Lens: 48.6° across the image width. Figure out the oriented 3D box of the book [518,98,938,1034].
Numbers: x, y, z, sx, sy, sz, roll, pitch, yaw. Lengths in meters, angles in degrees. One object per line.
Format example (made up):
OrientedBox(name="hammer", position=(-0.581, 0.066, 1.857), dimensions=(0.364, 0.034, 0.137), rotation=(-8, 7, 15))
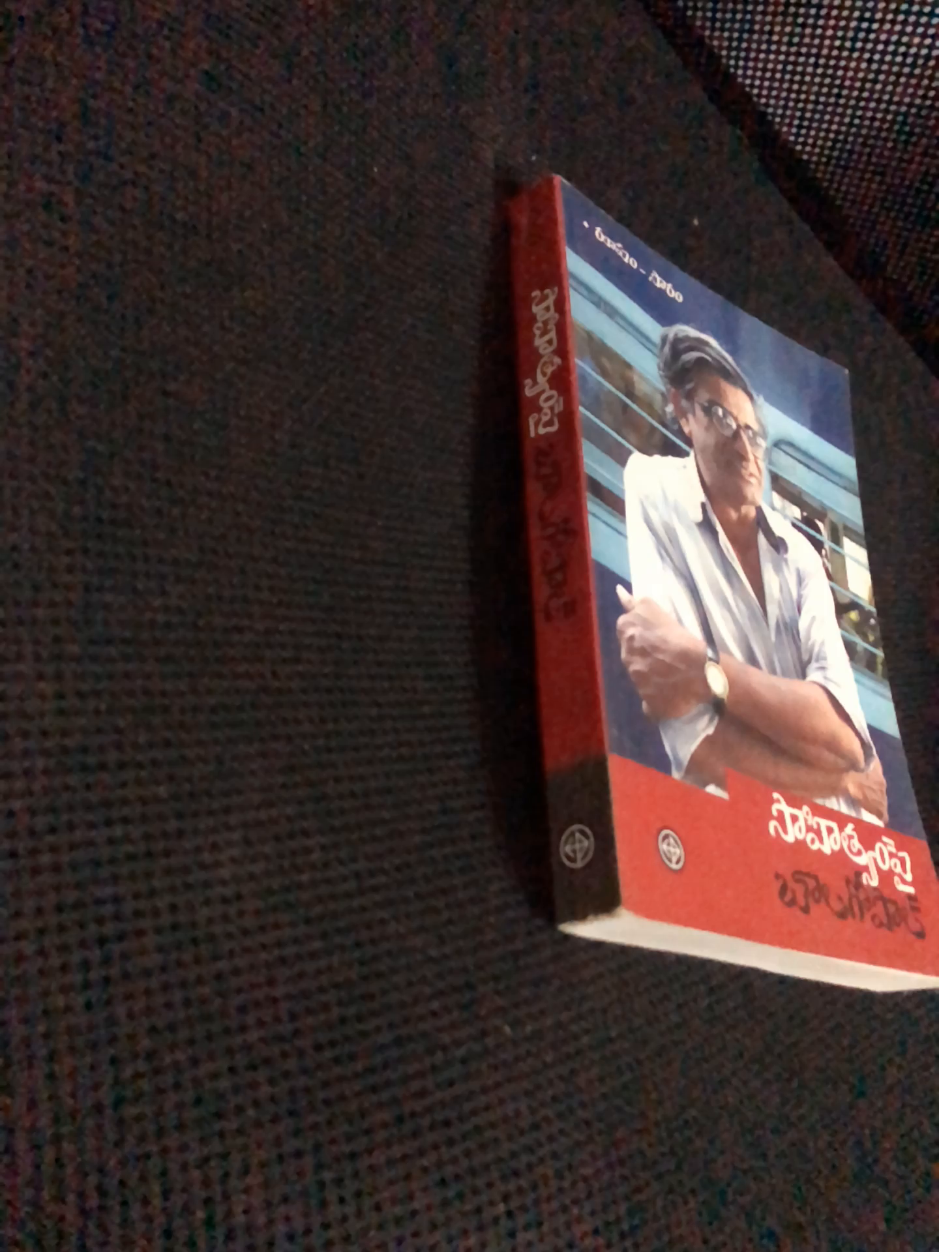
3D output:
OrientedBox(name="book", position=(0.083, -0.015, 0.283), dimensions=(0.153, 0.030, 0.225), rotation=(21, 55, -36))
